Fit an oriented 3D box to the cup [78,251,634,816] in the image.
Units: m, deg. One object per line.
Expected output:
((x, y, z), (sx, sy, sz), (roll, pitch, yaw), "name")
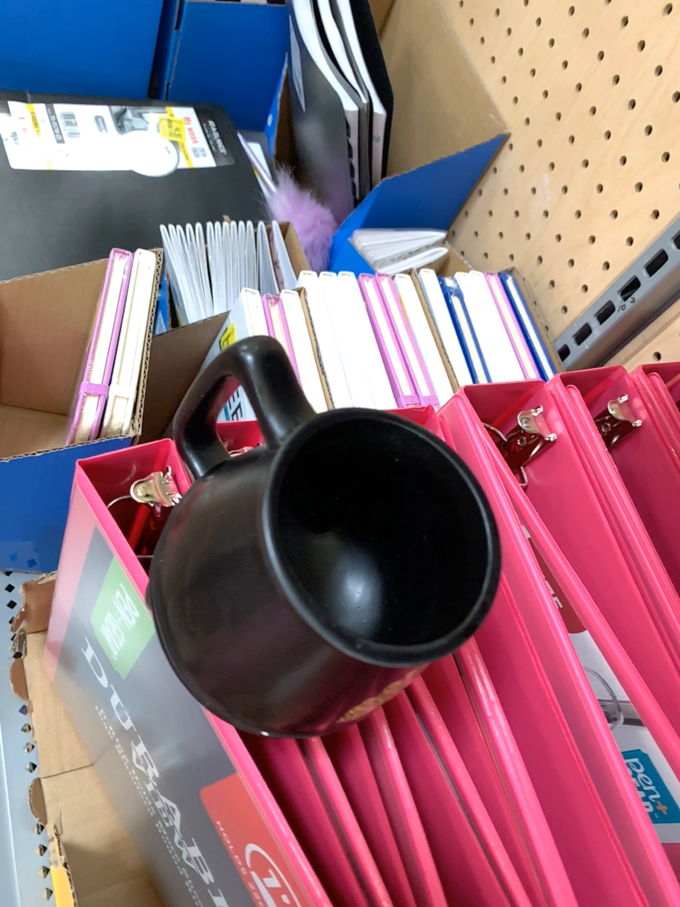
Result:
((-0.005, 0.024, 0.219), (0.097, 0.093, 0.122), (-24, 75, -32), "cup")
